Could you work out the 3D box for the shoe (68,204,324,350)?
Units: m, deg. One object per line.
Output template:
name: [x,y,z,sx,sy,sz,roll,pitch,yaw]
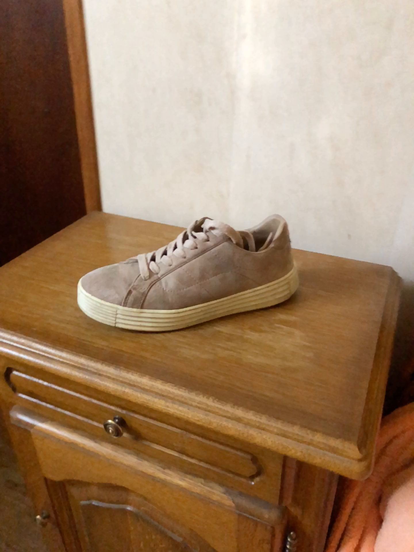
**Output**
shoe: [-0.016,-0.008,0.521,0.261,0.089,0.110,-8,31,-16]
